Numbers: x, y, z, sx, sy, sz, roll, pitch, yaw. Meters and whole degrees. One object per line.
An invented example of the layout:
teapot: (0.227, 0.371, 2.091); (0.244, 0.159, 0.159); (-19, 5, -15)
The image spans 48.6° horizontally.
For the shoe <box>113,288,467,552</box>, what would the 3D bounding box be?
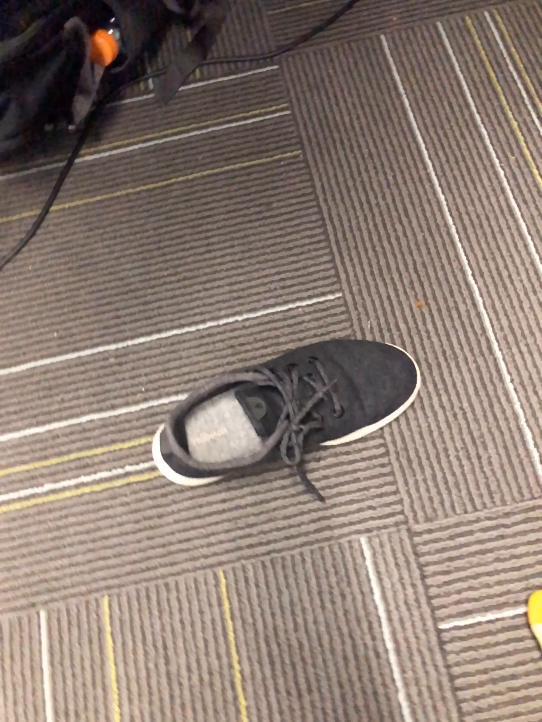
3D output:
shoe: (0.014, 0.054, 0.556); (0.280, 0.060, 0.140); (-21, 69, -2)
